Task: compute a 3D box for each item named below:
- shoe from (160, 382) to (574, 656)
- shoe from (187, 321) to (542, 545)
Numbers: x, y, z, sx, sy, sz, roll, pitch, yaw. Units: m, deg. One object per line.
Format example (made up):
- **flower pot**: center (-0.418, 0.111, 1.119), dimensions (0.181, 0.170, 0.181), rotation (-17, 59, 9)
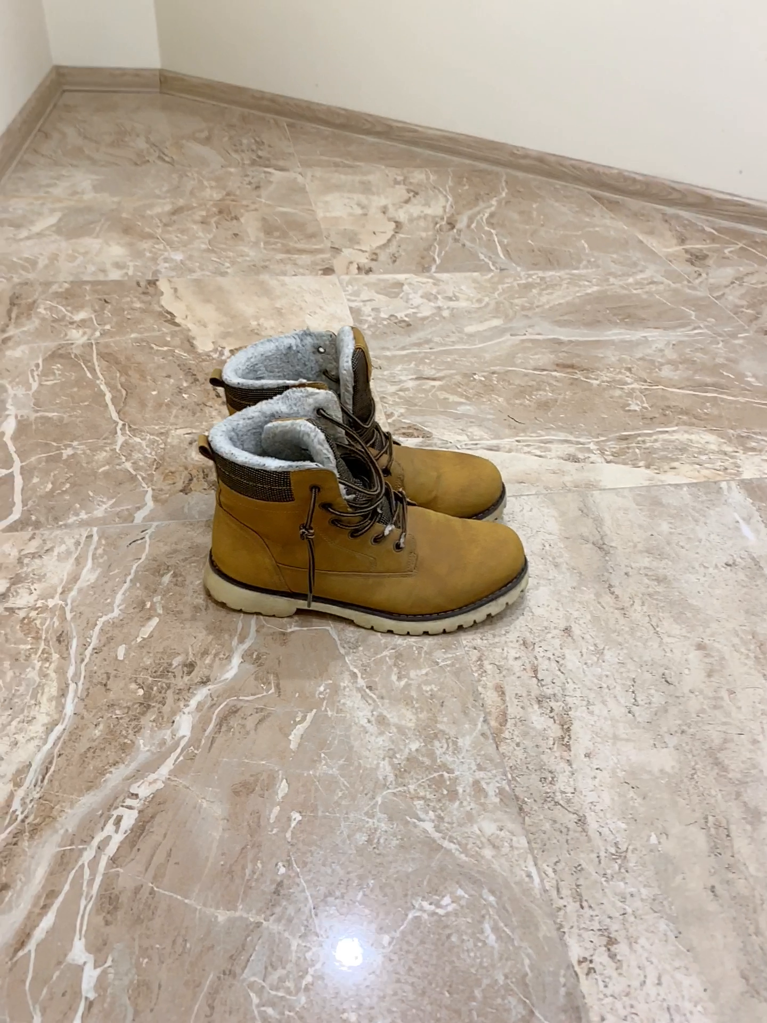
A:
- **shoe**: center (-0.013, 0.006, 0.627), dimensions (0.280, 0.159, 0.121), rotation (4, 38, 0)
- **shoe**: center (-0.016, -0.072, 0.709), dimensions (0.280, 0.139, 0.121), rotation (4, 38, 0)
